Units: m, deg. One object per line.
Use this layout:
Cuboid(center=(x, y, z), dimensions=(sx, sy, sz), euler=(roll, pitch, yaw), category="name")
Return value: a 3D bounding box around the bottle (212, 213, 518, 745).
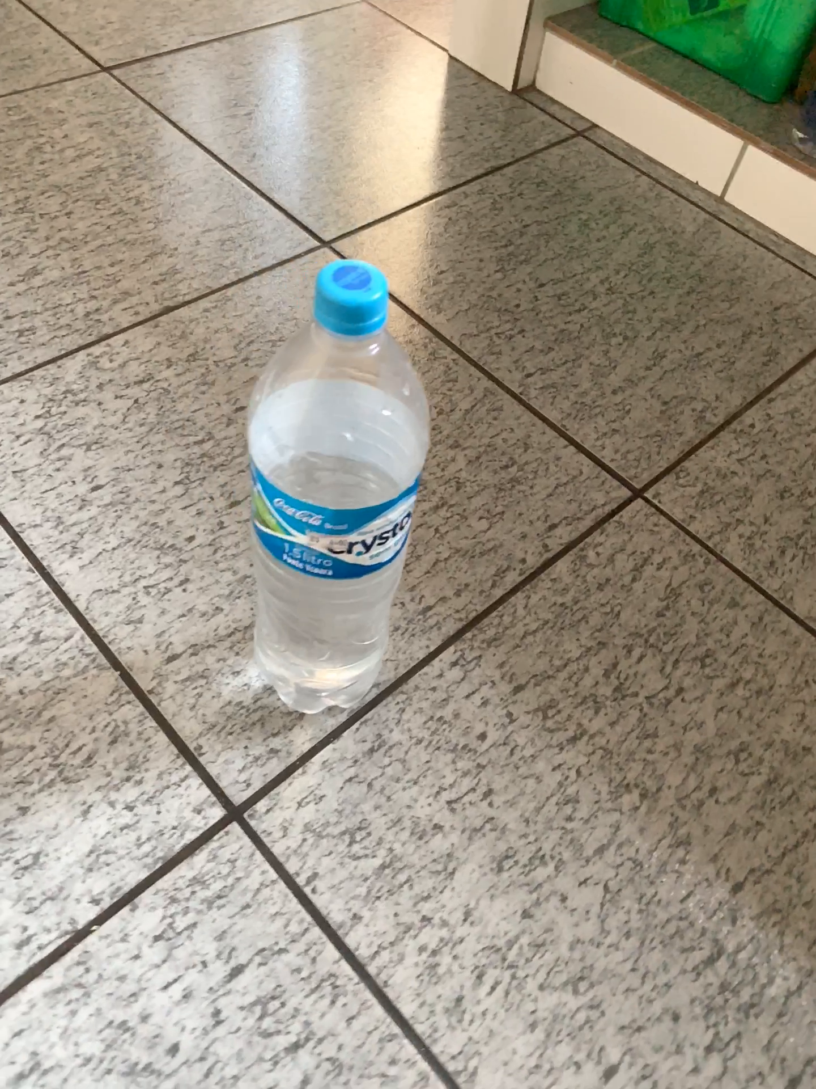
Cuboid(center=(-0.035, -0.009, 0.443), dimensions=(0.090, 0.299, 0.090), euler=(4, 54, -5), category="bottle")
